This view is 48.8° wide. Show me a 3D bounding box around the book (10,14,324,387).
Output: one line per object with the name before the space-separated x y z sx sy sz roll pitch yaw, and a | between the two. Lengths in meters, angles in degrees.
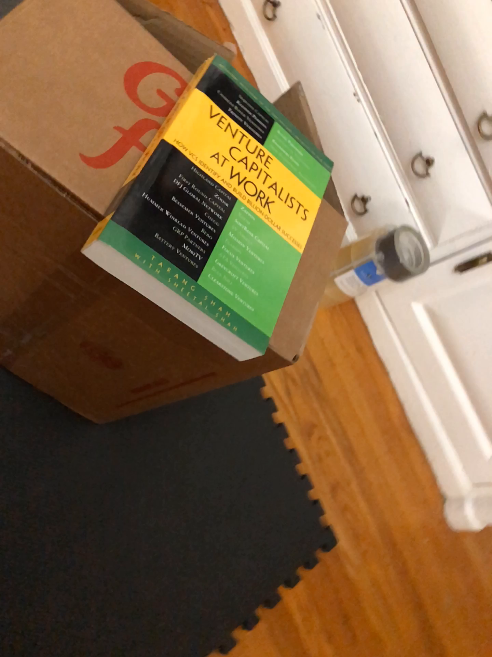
book | -0.039 -0.108 0.431 0.160 0.040 0.261 35 57 -23
